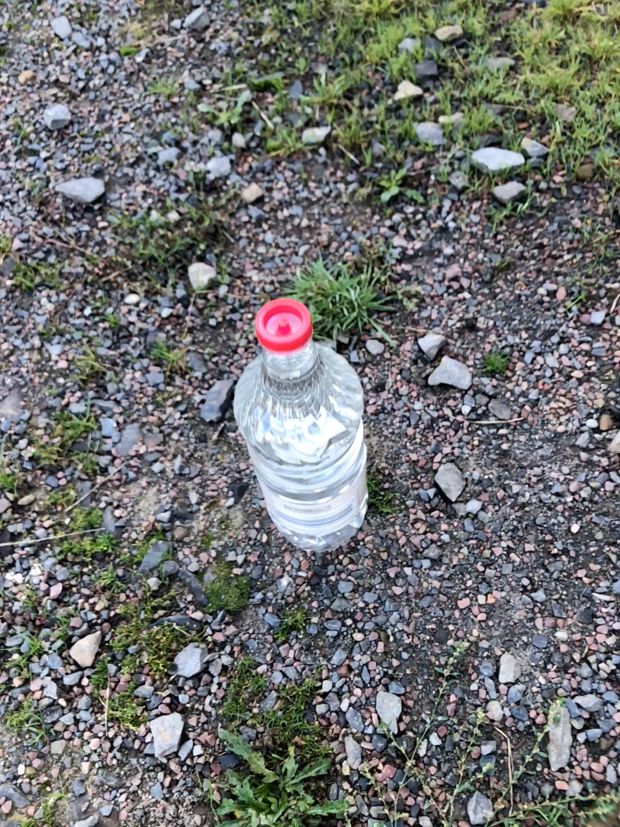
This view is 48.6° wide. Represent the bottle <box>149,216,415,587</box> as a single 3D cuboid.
[{"bbox_3d":[-0.002,0.011,0.465,0.100,0.249,0.100,-3,59,6],"label":"bottle"}]
